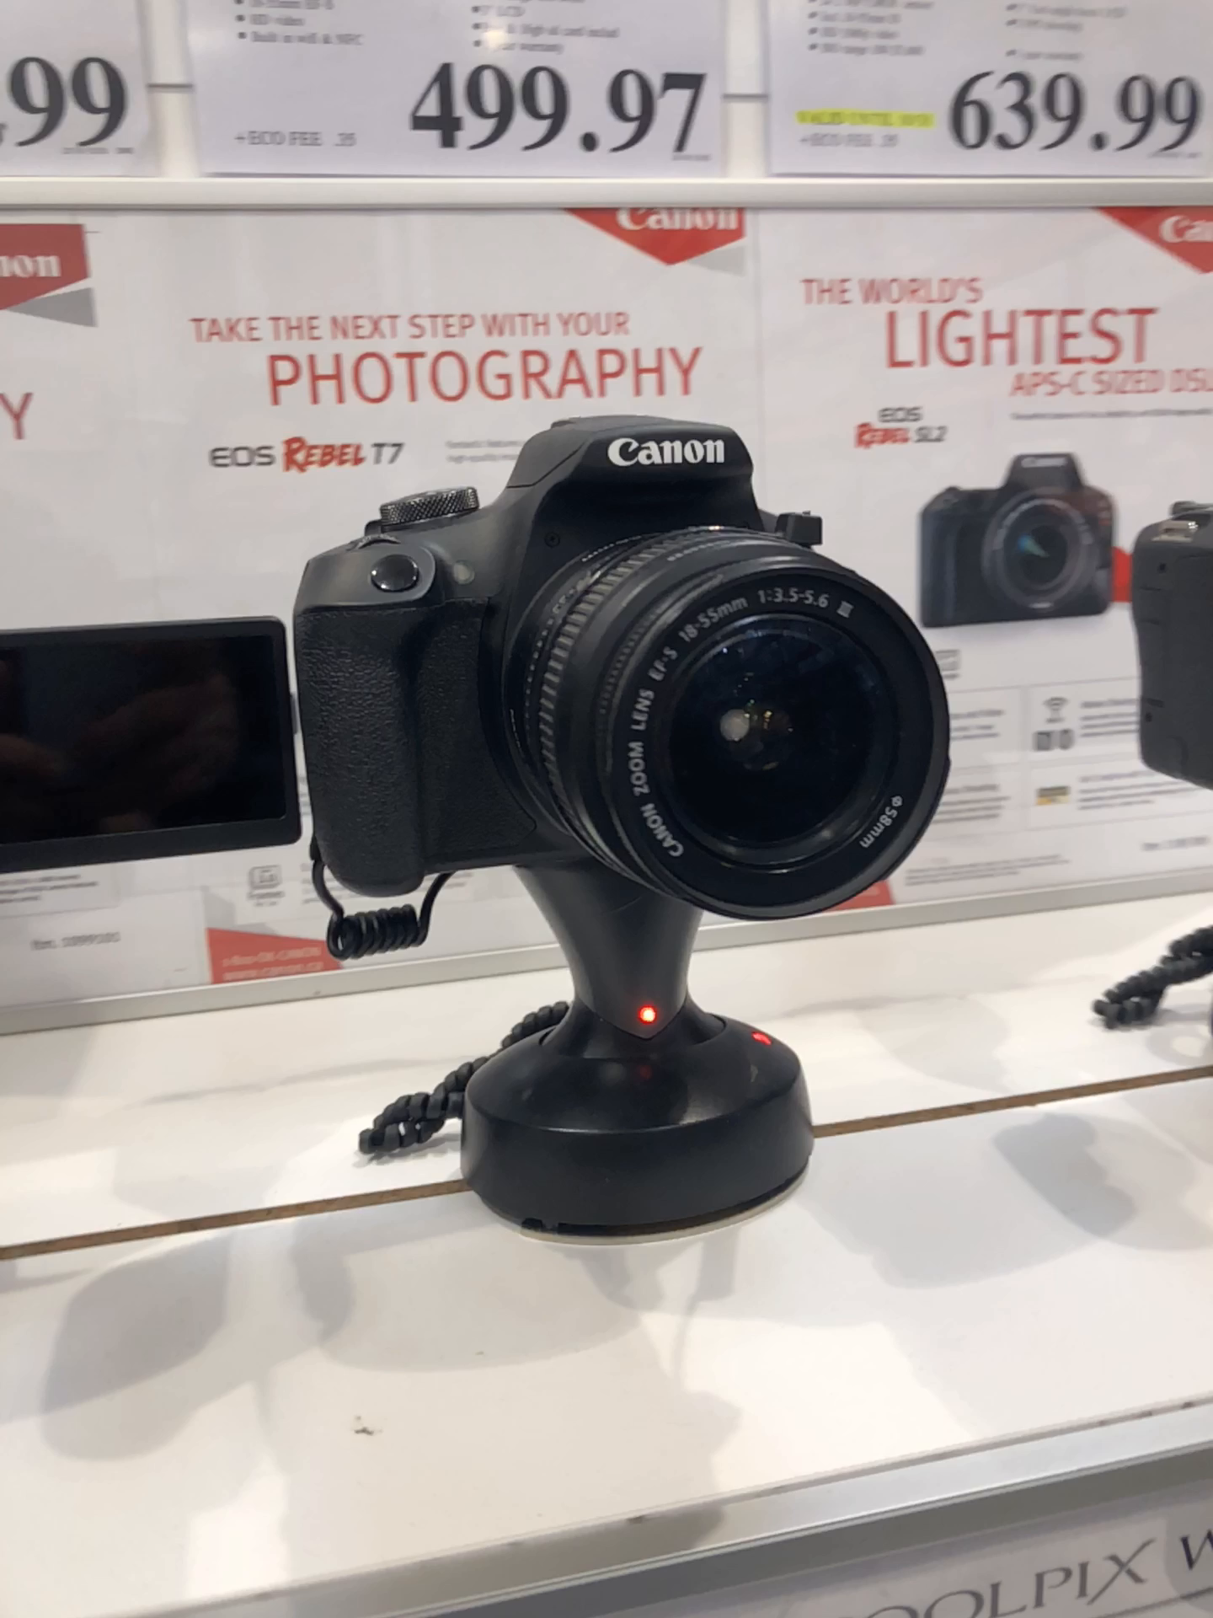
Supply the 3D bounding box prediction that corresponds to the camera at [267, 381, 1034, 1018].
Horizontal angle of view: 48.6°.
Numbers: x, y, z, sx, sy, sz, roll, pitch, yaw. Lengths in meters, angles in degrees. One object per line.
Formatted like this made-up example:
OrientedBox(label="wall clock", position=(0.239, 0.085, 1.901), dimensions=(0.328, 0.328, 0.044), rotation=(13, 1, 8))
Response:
OrientedBox(label="camera", position=(-0.001, -0.032, 0.287), dimensions=(0.130, 0.100, 0.120), rotation=(-6, 13, -13))
